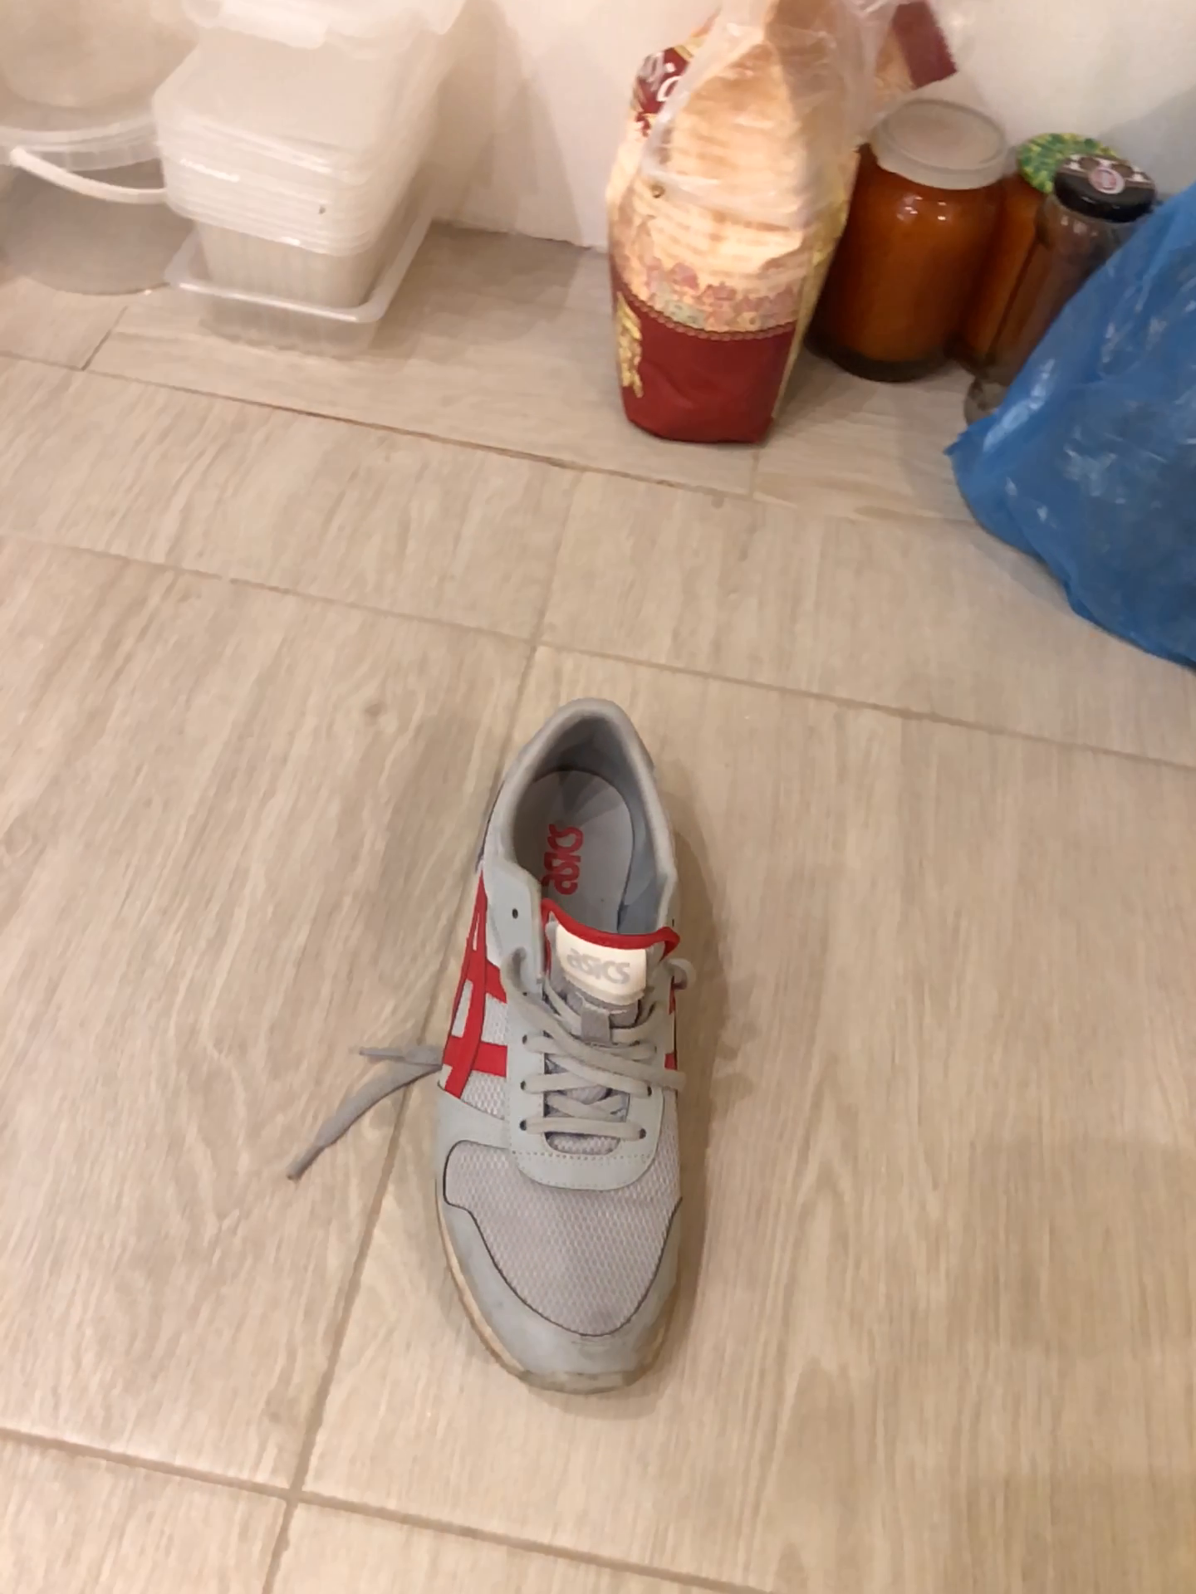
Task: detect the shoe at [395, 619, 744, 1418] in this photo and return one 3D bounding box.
[{"bbox_3d":[-0.008,0.083,0.553,0.110,0.129,0.299,5,54,-3],"label":"shoe"}]
